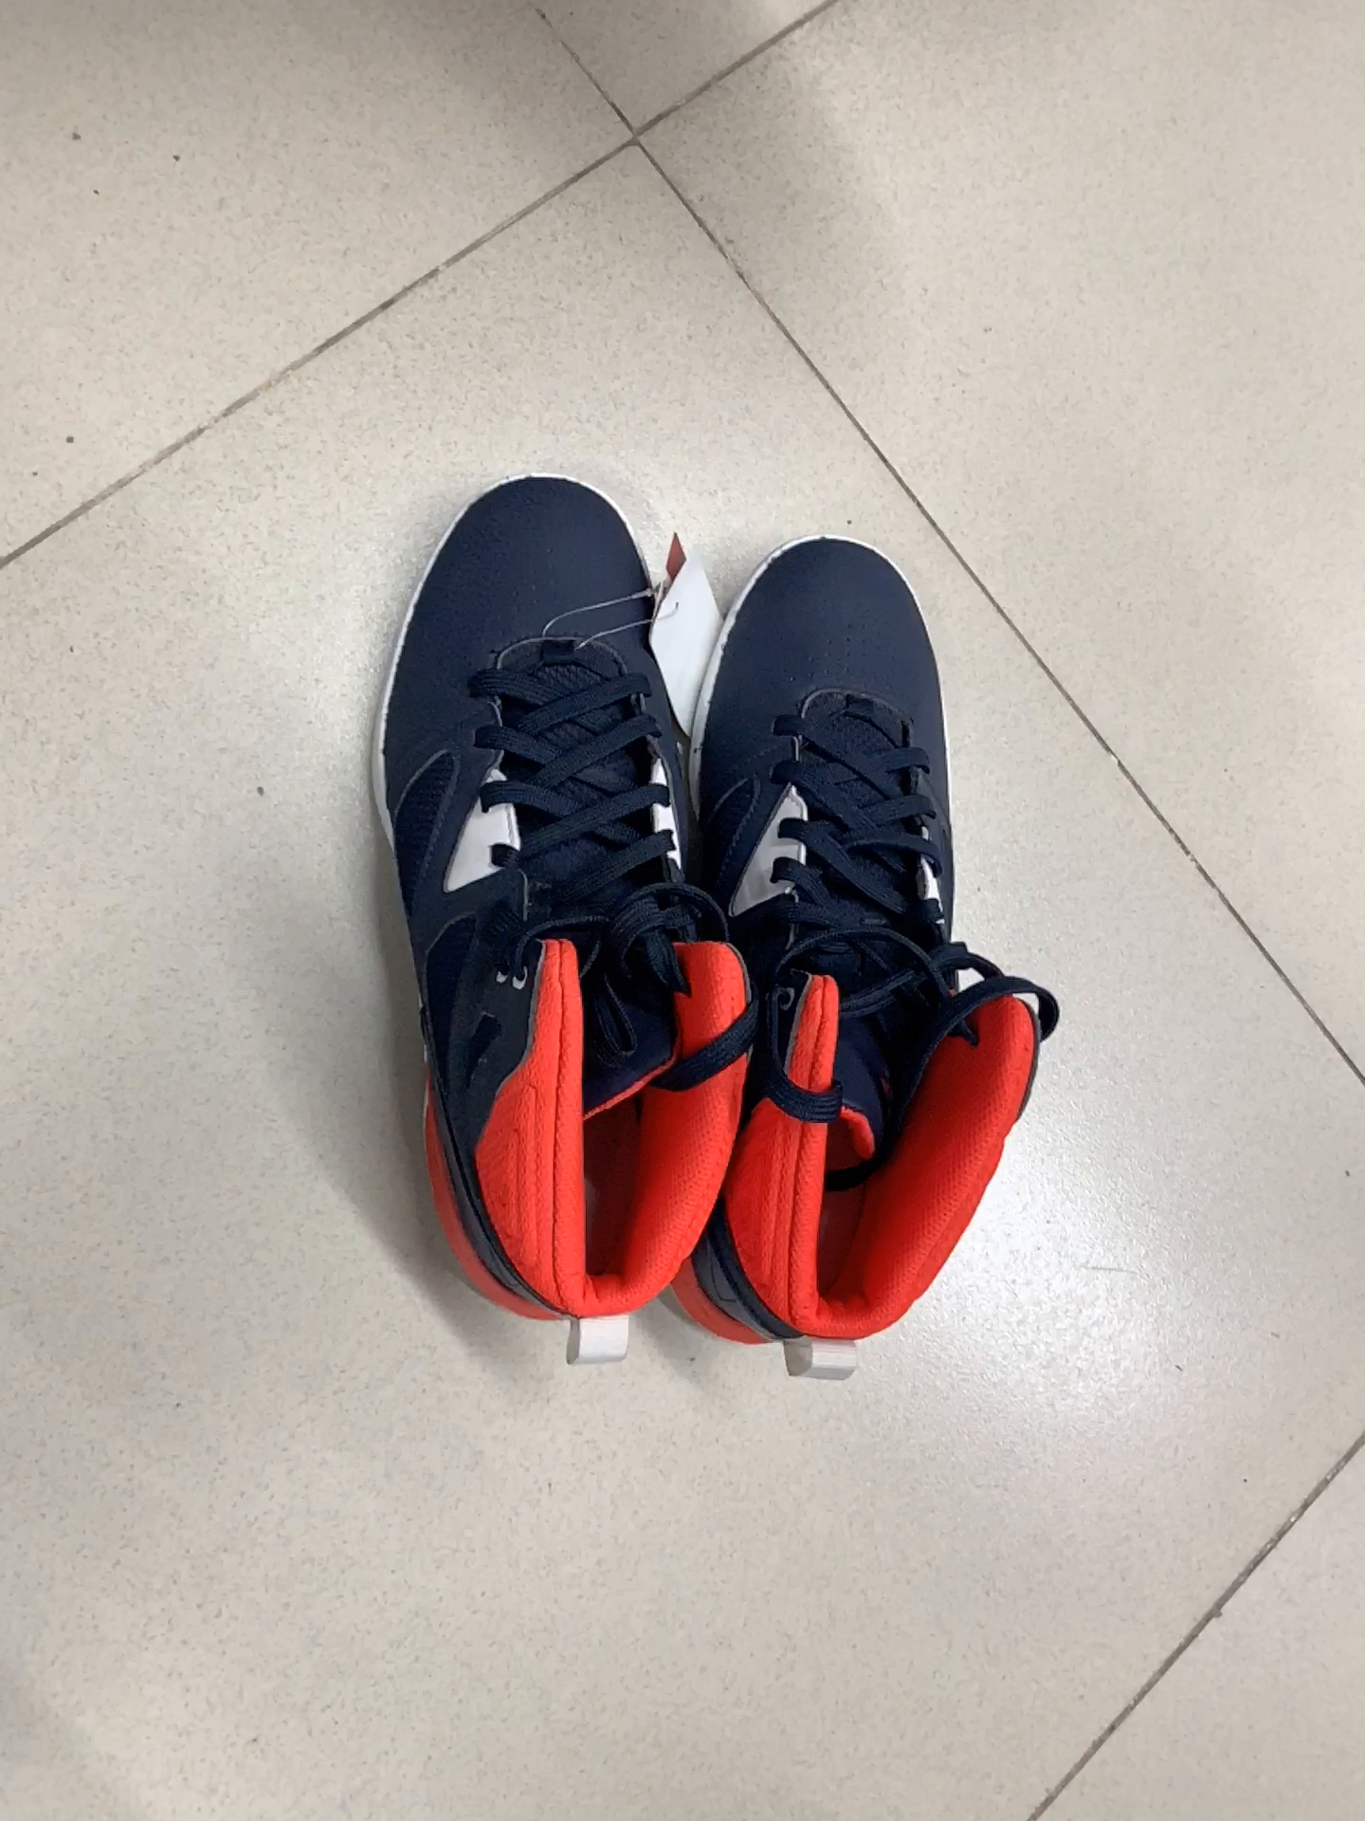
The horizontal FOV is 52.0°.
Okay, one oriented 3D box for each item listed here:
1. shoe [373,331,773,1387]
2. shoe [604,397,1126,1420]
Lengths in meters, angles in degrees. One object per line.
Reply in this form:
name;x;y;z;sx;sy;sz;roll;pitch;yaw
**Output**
shoe;-0.040;-0.014;0.443;0.110;0.100;0.290;1;85;-13
shoe;0.056;0.003;0.471;0.110;0.120;0.290;8;84;-12
